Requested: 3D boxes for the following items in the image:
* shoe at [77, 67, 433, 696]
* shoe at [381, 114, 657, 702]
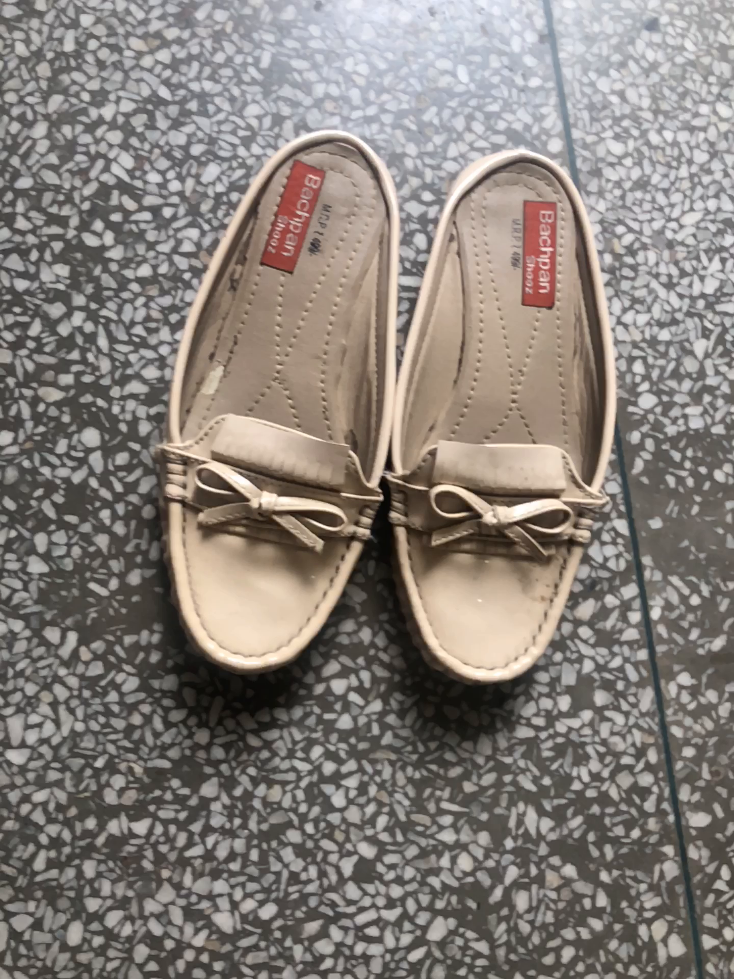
[{"bbox_3d":[-0.040,-0.041,0.321,0.090,0.040,0.220,11,85,-4],"label":"shoe"},{"bbox_3d":[0.058,-0.030,0.321,0.080,0.040,0.210,7,85,-5],"label":"shoe"}]
